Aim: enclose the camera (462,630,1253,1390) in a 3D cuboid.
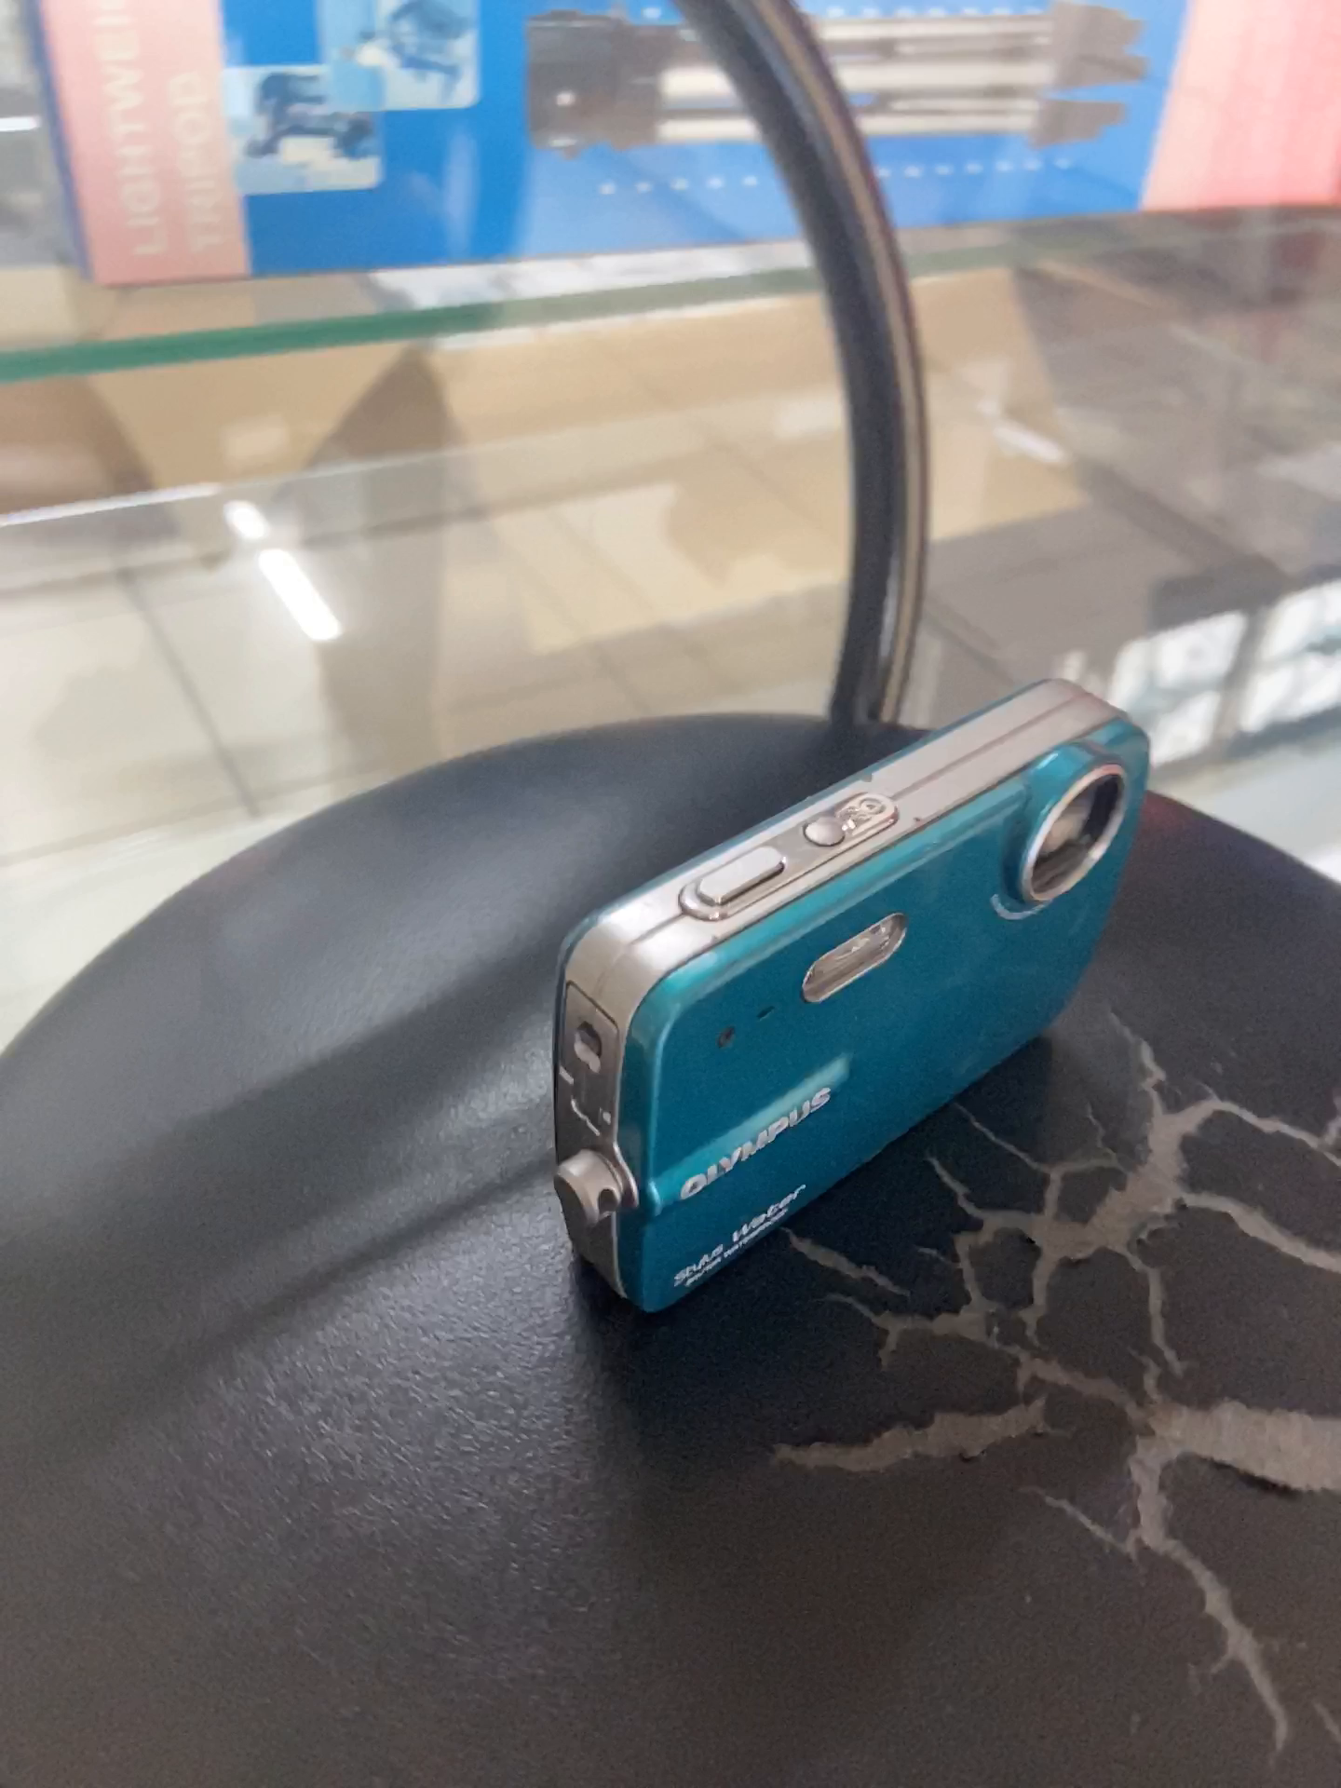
[{"bbox_3d":[0.025,0.010,0.178,0.100,0.050,0.030,-27,49,-31],"label":"camera"}]
